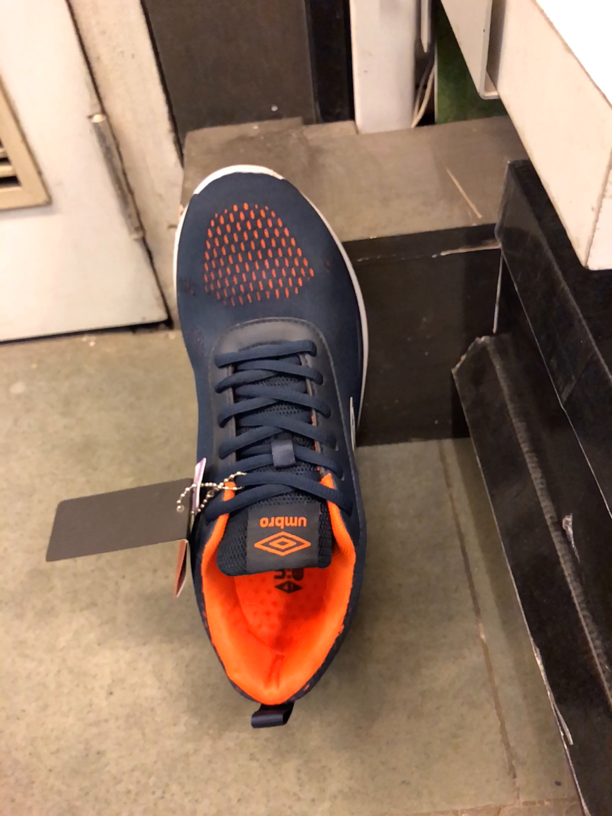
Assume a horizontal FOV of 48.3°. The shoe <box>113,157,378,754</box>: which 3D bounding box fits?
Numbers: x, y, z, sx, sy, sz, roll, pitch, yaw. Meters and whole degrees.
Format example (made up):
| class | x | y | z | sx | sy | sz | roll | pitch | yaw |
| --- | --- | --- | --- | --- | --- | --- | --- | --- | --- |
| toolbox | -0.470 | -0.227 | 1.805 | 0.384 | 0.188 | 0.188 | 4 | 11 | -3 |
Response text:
| class | x | y | z | sx | sy | sz | roll | pitch | yaw |
| --- | --- | --- | --- | --- | --- | --- | --- | --- | --- |
| shoe | -0.021 | 0.016 | 0.349 | 0.092 | 0.259 | 0.133 | -3 | 16 | -2 |
